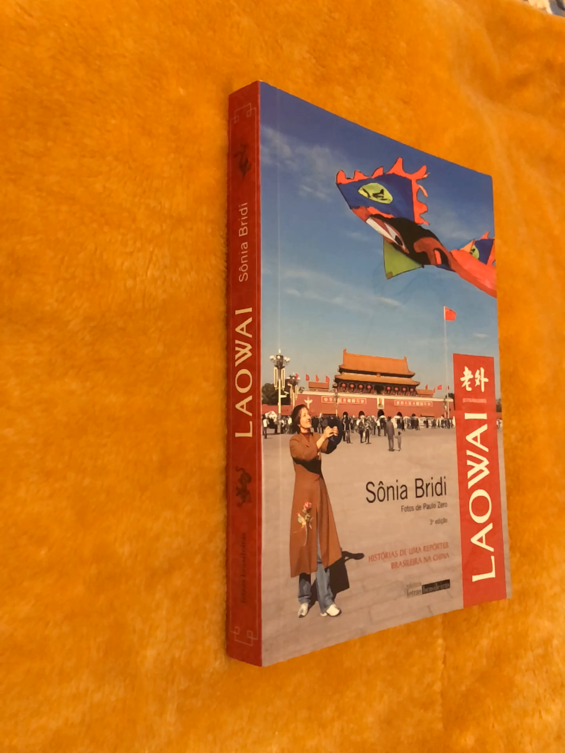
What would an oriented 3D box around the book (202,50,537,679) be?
[{"bbox_3d":[0.047,-0.005,0.301,0.171,0.040,0.240,3,83,-34],"label":"book"}]
